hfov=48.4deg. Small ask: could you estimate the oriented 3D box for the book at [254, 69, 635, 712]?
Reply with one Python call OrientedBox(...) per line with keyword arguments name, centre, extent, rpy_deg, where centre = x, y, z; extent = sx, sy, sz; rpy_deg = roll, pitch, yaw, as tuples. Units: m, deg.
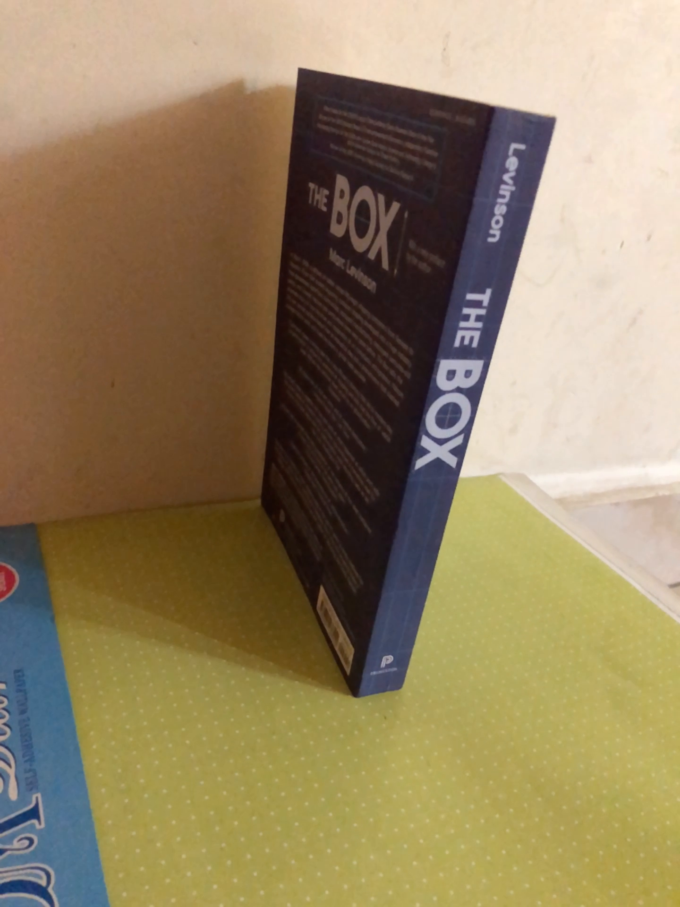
OrientedBox(name="book", centre=(0.017, -0.040, 0.329), extent=(0.050, 0.219, 0.181), rpy_deg=(0, 26, -20))
